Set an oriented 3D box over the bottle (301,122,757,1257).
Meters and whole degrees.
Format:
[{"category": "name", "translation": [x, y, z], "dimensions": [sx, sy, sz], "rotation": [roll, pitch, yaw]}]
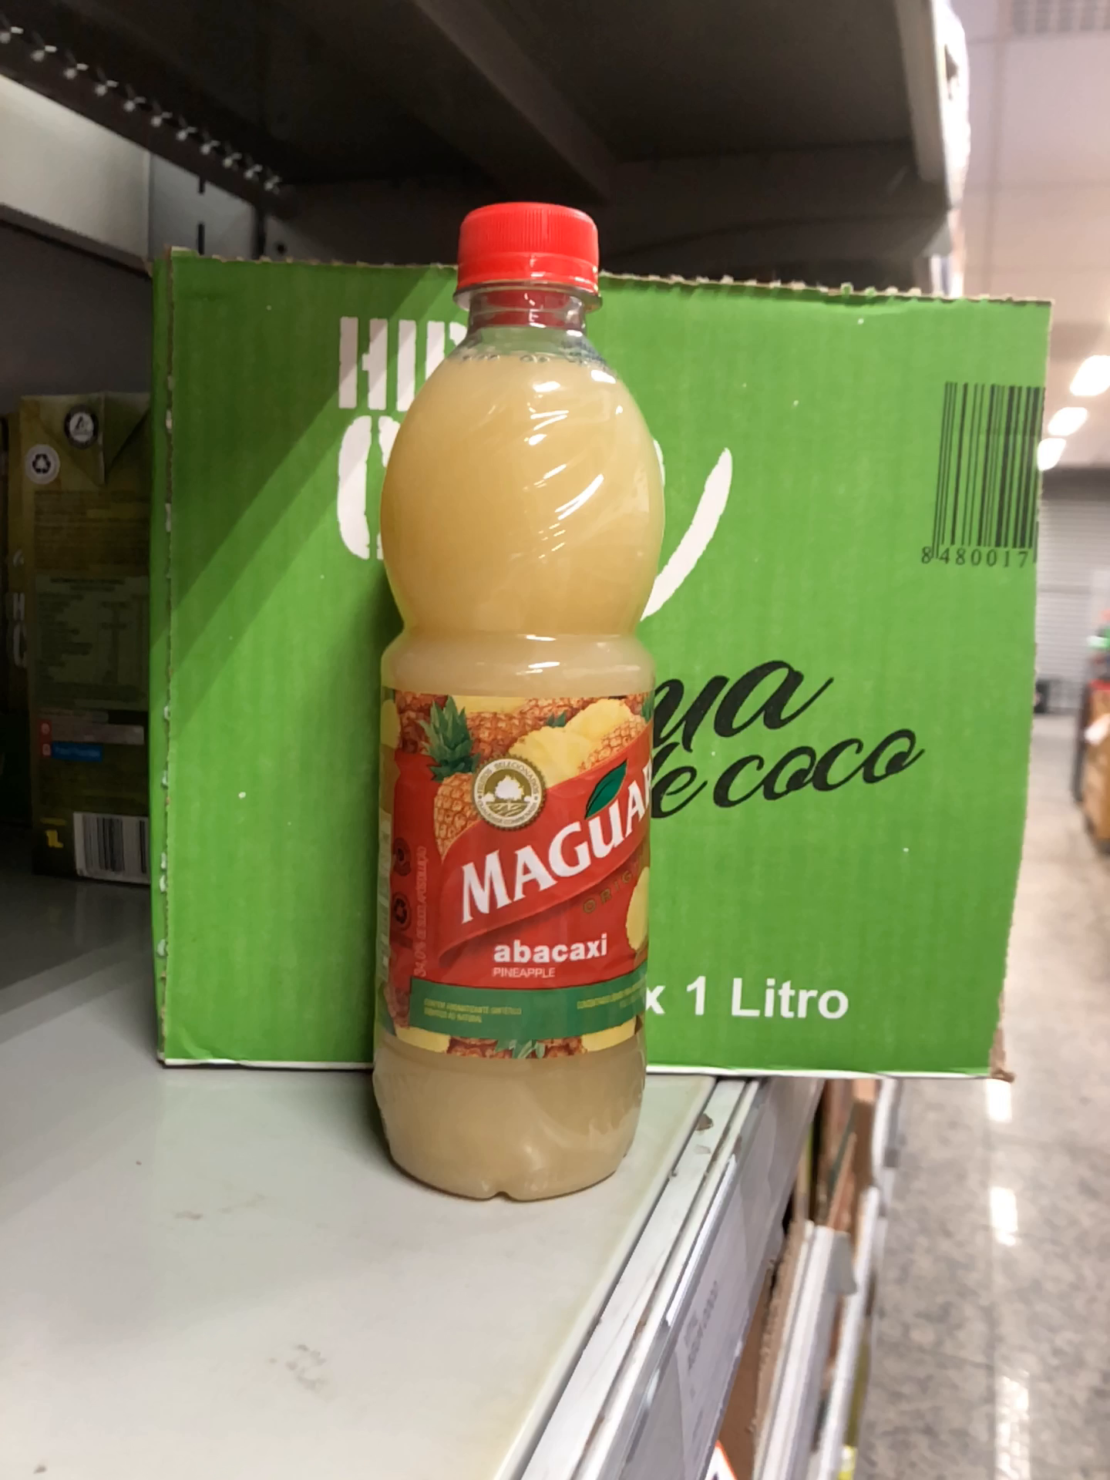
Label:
[{"category": "bottle", "translation": [-0.010, -0.009, 0.270], "dimensions": [0.070, 0.209, 0.060], "rotation": [-2, 9, -30]}]
